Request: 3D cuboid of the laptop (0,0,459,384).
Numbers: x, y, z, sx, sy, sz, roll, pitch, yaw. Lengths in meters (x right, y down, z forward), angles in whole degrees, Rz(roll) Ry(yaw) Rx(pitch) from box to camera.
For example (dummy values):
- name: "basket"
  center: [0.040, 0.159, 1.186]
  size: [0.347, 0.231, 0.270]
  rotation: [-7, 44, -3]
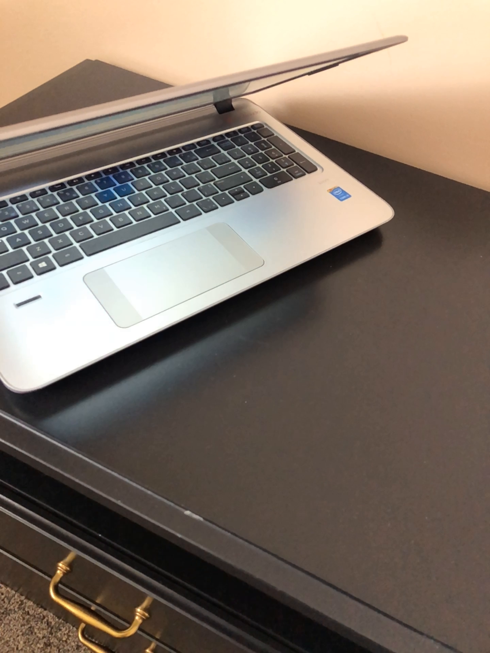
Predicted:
- name: "laptop"
  center: [-0.064, -0.155, 0.426]
  size: [0.355, 0.153, 0.228]
  rotation: [-27, 58, -27]
